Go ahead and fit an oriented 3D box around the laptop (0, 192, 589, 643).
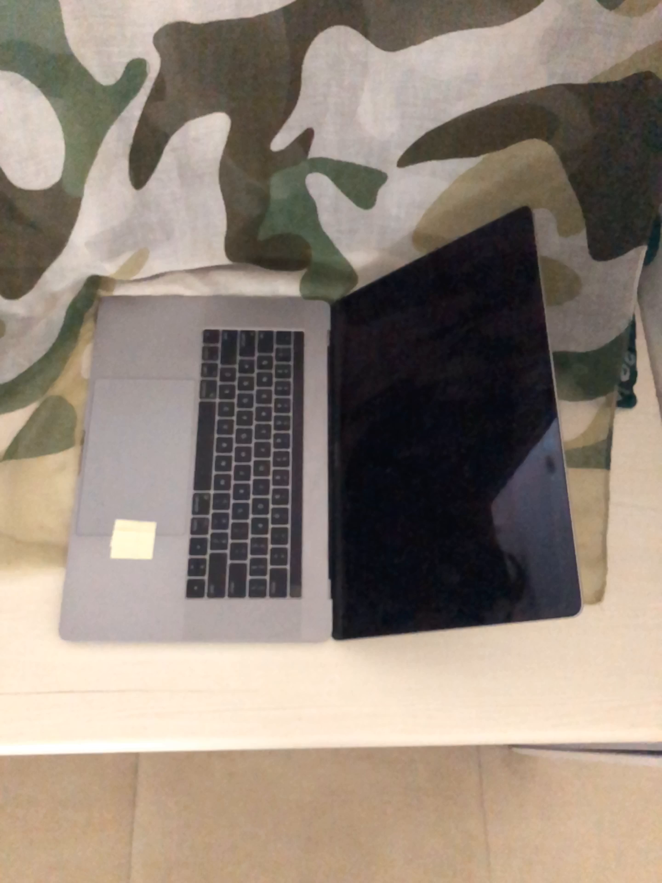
[{"bbox_3d":[-0.033,-0.016,0.631,0.402,0.166,0.342,1,68,-2],"label":"laptop"}]
